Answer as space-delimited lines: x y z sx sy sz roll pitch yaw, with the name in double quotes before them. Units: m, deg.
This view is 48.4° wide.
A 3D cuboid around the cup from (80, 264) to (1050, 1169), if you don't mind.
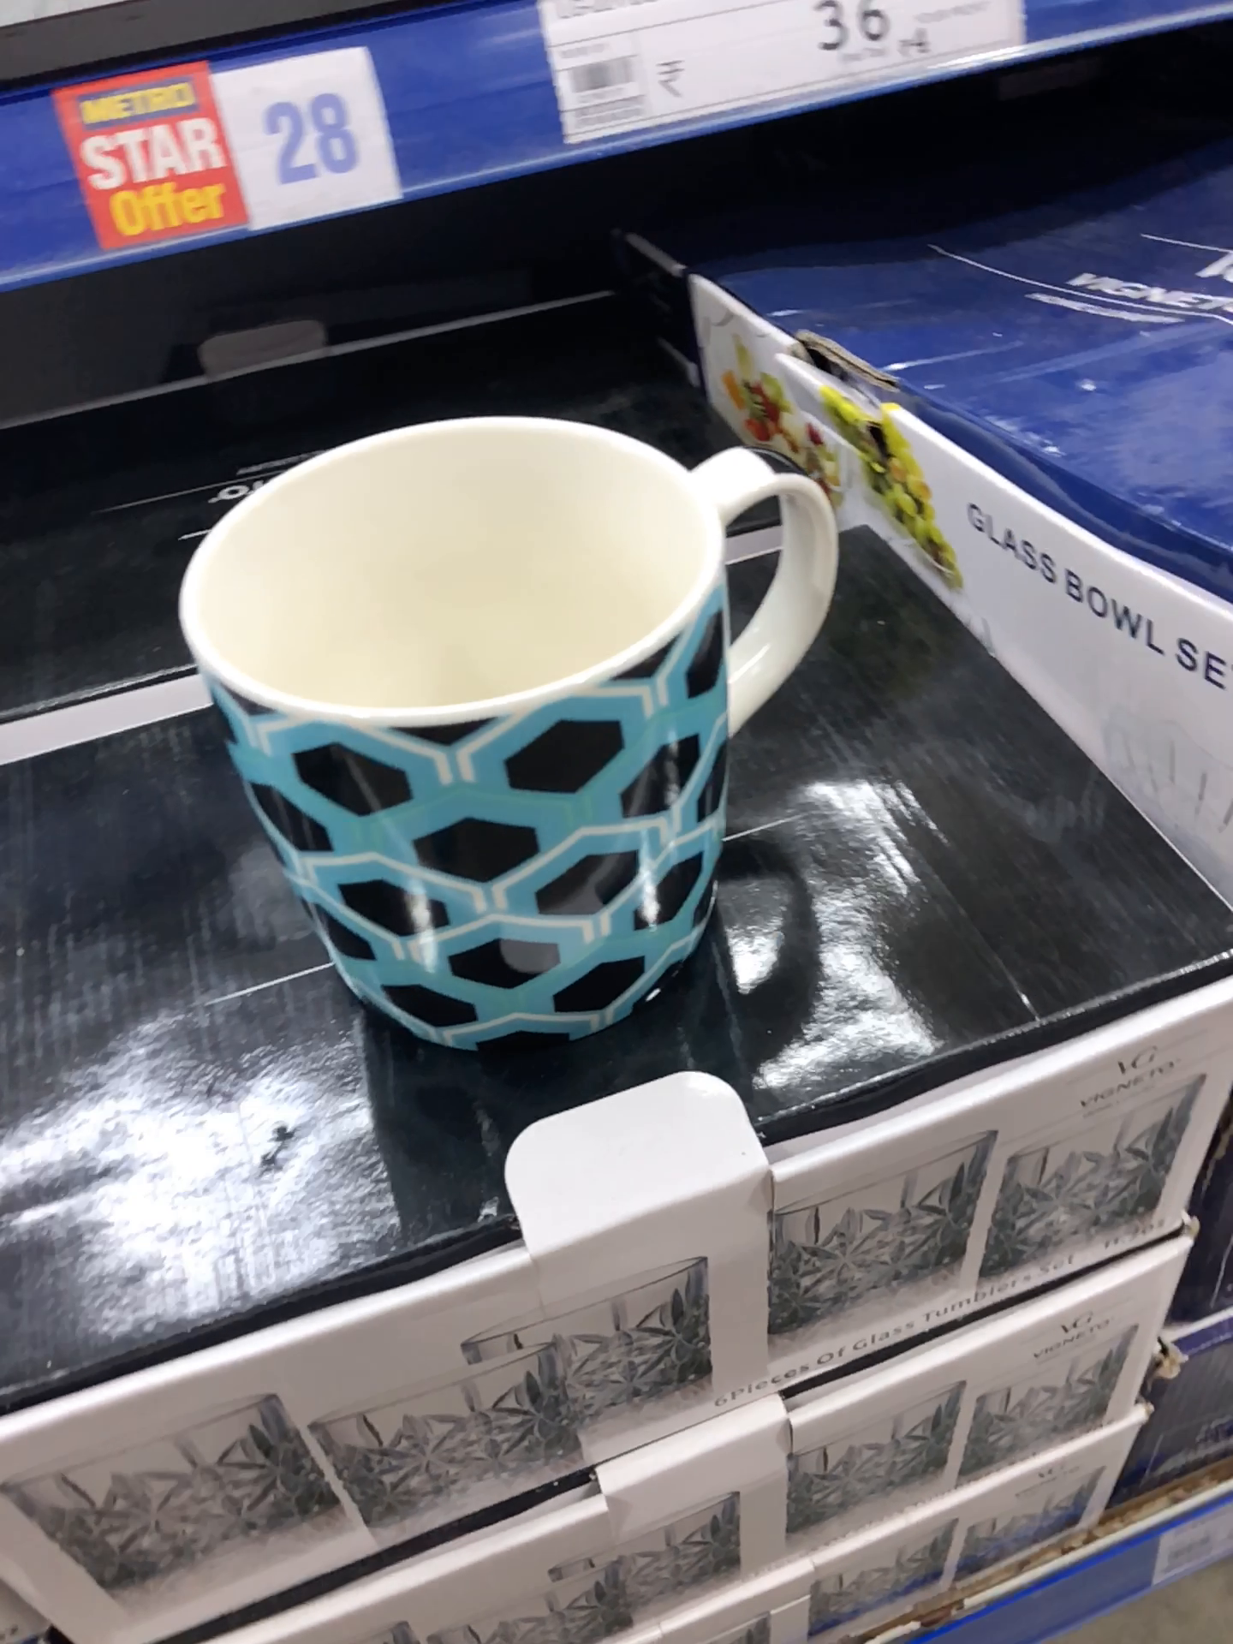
"cup" -0.007 -0.026 0.252 0.130 0.090 0.090 -27 47 -19
